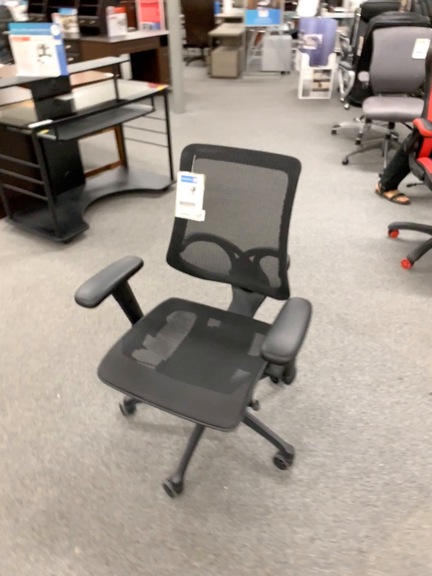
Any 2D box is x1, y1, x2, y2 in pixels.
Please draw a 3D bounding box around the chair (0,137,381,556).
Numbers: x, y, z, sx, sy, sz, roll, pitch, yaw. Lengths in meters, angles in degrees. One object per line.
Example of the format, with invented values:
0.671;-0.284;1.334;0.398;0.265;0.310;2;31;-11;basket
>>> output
-0.003;0.094;1.349;0.761;0.806;0.763;11;37;18;chair
